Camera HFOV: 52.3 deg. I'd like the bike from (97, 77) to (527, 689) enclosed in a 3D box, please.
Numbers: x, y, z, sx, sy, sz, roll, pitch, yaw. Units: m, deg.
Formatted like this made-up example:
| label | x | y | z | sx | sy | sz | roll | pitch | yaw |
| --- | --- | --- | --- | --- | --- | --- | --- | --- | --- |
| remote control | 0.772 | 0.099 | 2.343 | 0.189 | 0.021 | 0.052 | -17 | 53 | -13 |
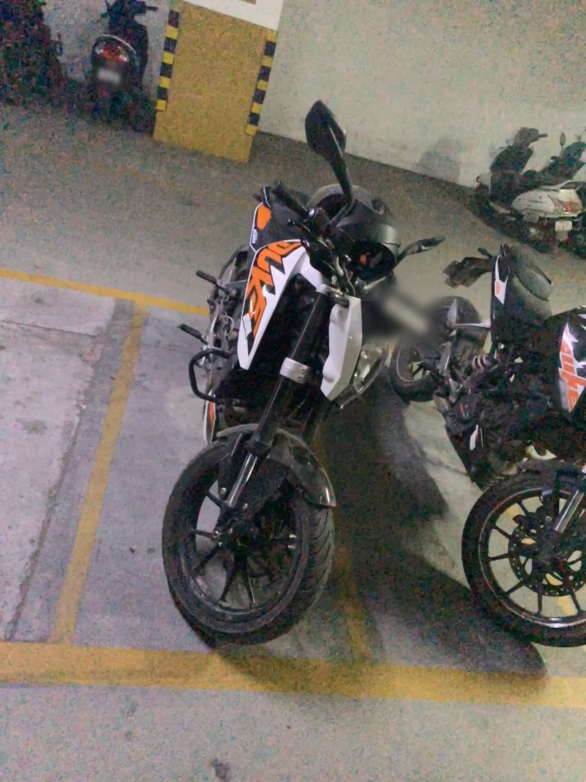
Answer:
| label | x | y | z | sx | sy | sz | roll | pitch | yaw |
| --- | --- | --- | --- | --- | --- | --- | --- | --- | --- |
| bike | -0.104 | -0.194 | 2.249 | 0.803 | 1.181 | 1.922 | 9 | 36 | -15 |
